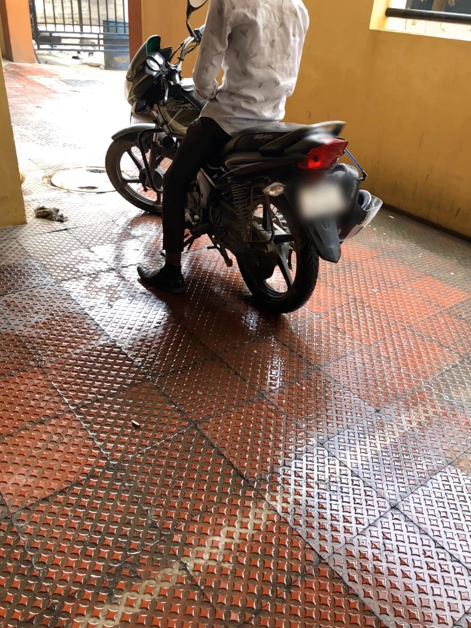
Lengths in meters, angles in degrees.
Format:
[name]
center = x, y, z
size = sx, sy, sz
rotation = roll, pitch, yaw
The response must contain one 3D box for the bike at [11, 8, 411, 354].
[bike]
center = -0.301, -0.839, 2.712
size = 0.813, 1.184, 1.879
rotation = -20, 39, -33
